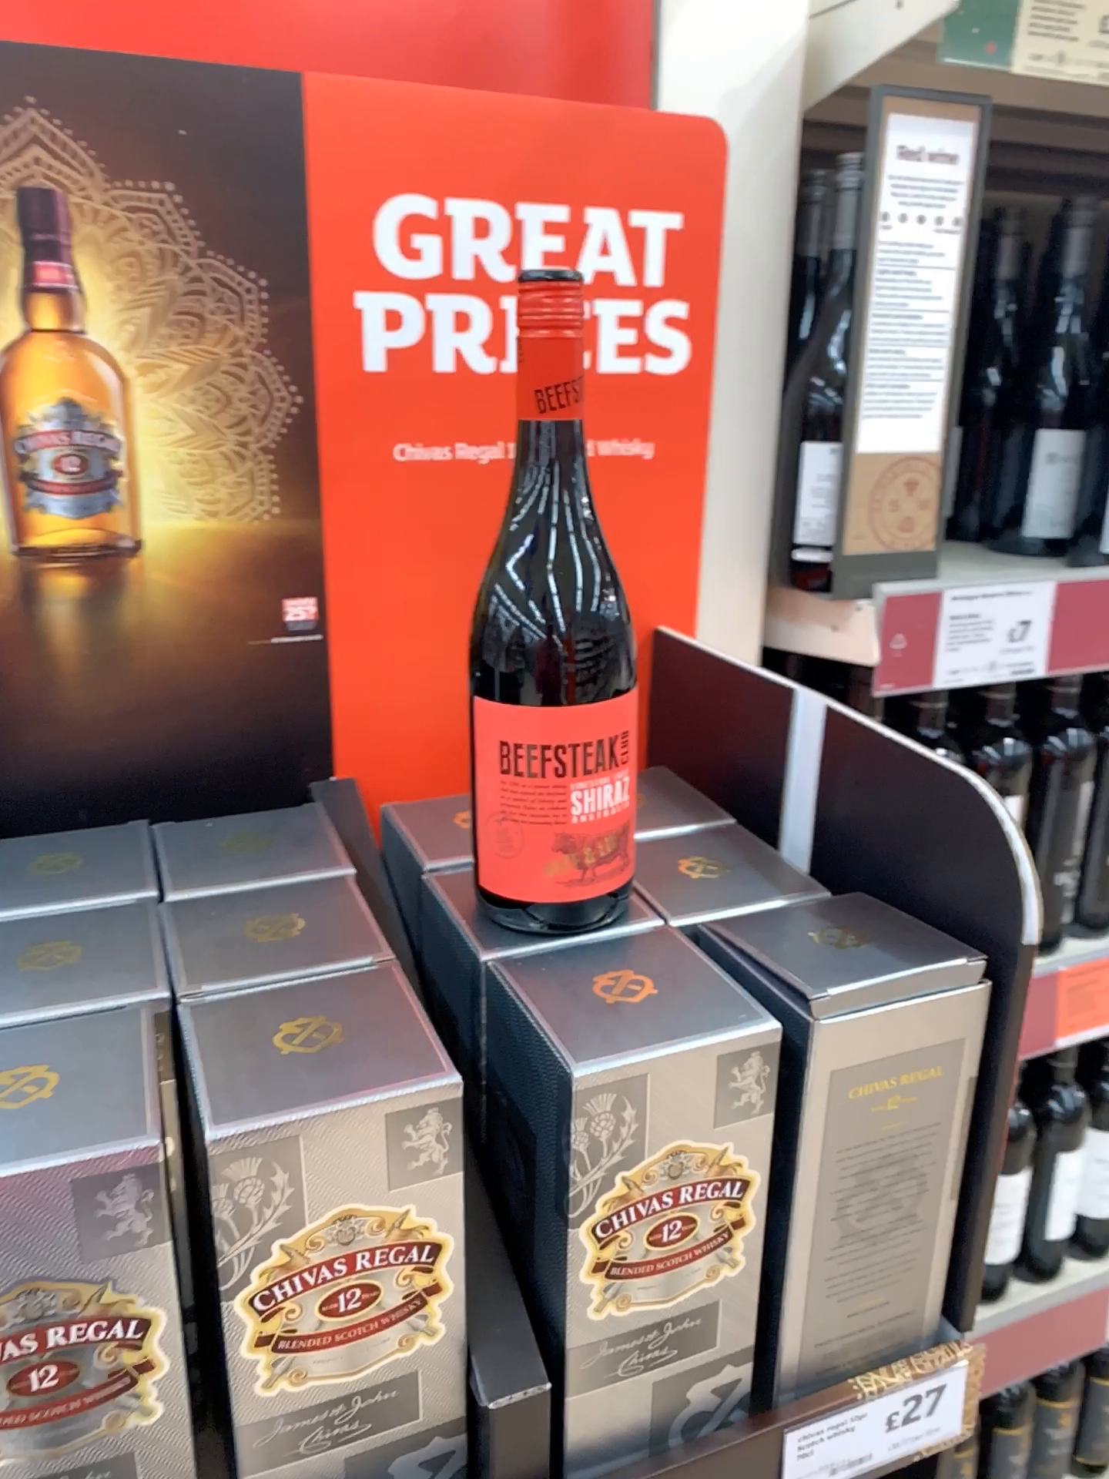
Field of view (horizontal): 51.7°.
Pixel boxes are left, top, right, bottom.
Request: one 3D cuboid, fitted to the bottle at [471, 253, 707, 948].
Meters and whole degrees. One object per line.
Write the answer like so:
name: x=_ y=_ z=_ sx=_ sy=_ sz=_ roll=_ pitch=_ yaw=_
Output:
bottle: x=0.007 y=-0.057 z=0.506 sx=0.082 sy=0.284 sz=0.081 roll=1 pitch=18 yaw=0
